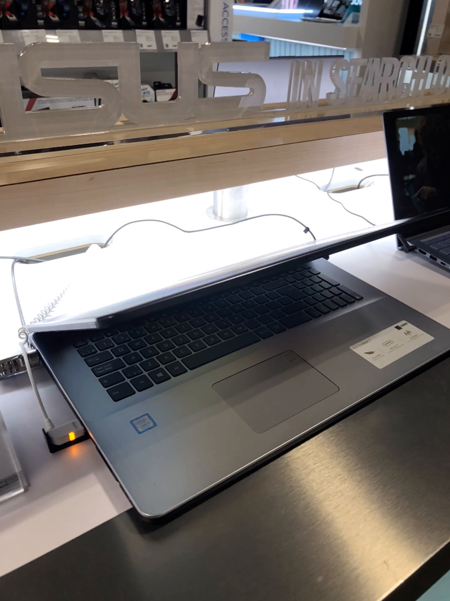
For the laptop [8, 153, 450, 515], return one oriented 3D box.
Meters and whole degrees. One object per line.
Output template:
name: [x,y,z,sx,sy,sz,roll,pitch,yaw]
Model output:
laptop: [0.029,-0.020,0.509,0.391,0.144,0.260,-19,38,-31]
